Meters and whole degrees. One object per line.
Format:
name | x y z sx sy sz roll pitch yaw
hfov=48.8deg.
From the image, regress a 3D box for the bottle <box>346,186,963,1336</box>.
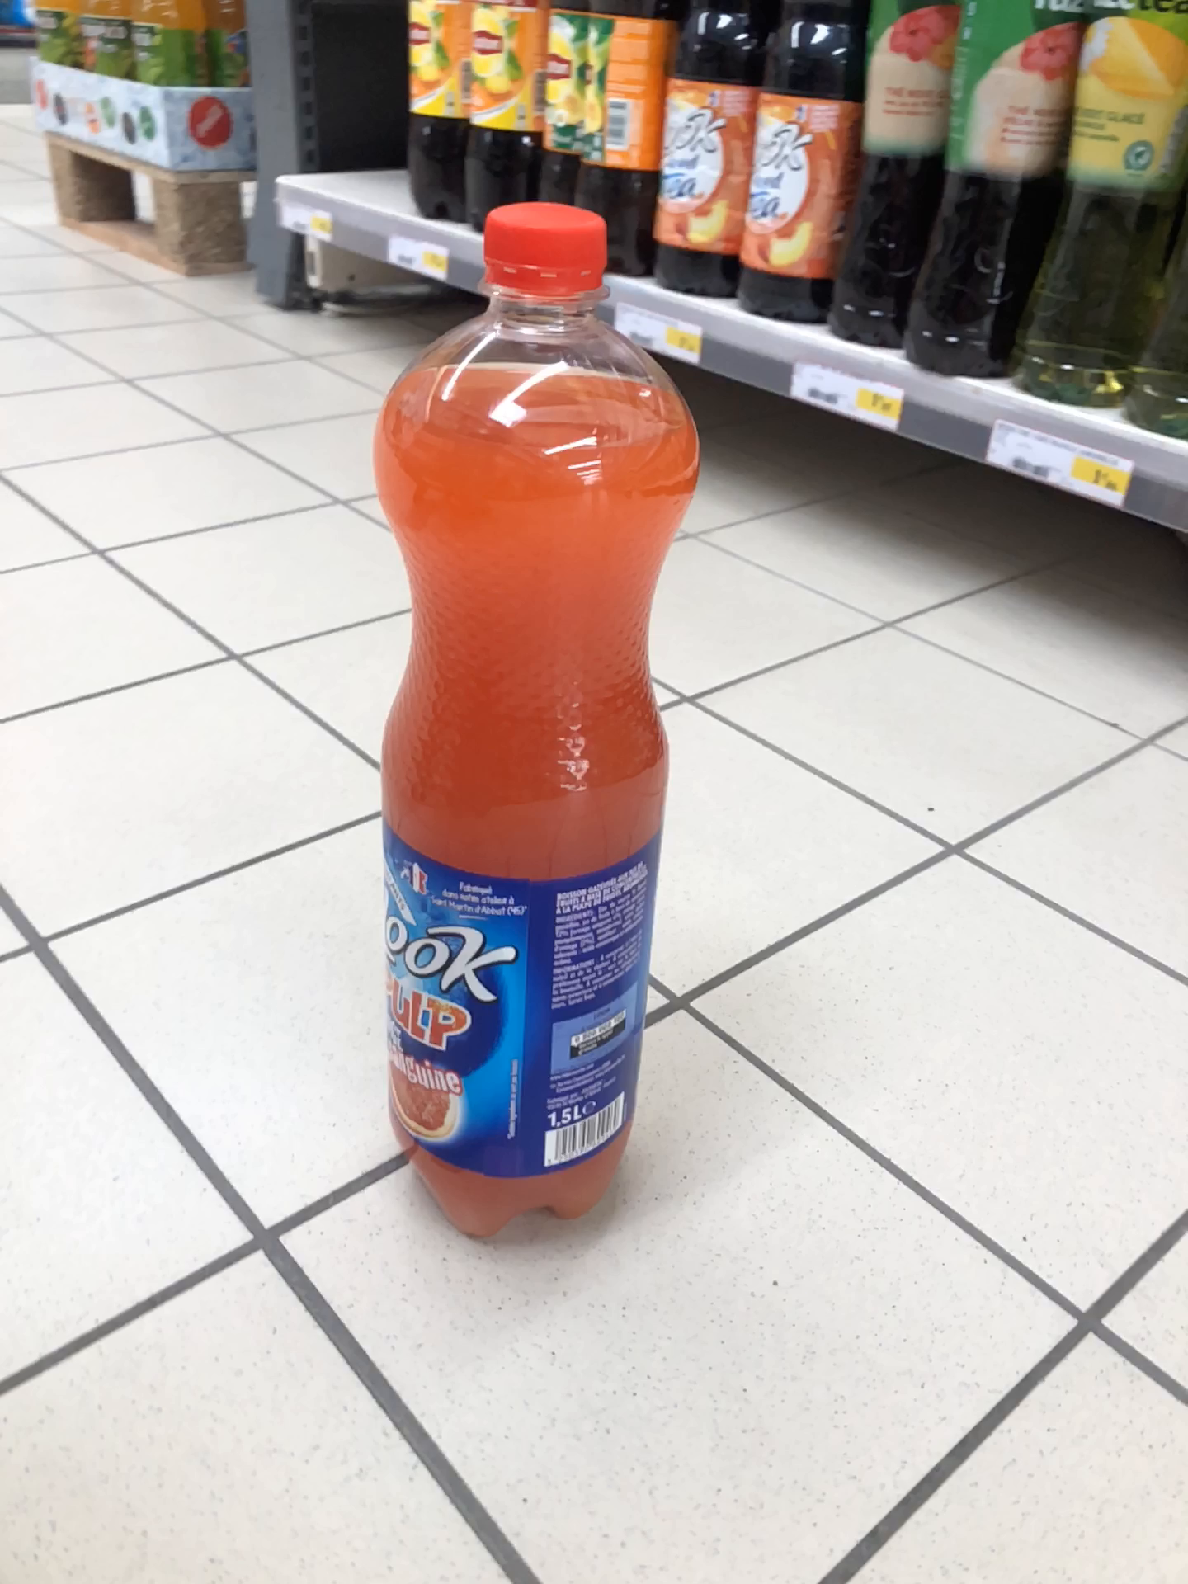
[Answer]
bottle | 0.001 -0.003 0.387 0.100 0.308 0.110 3 31 -2
